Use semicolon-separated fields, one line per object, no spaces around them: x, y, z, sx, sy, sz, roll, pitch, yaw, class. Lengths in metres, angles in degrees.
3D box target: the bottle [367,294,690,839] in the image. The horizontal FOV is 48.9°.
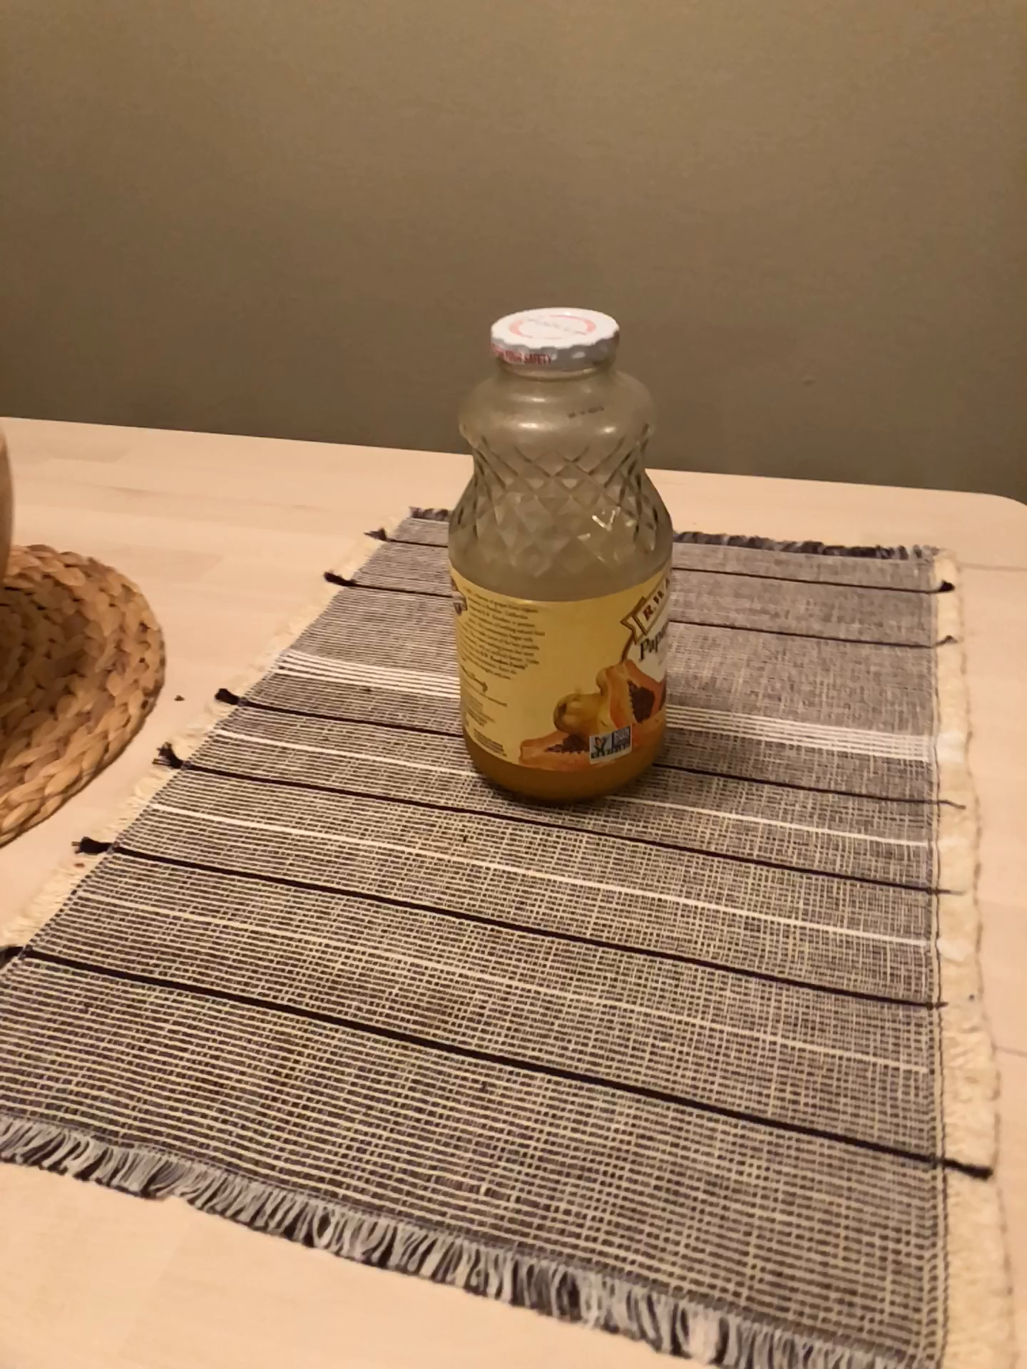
0.014;-0.051;0.481;0.100;0.199;0.101;-2;32;1;bottle
